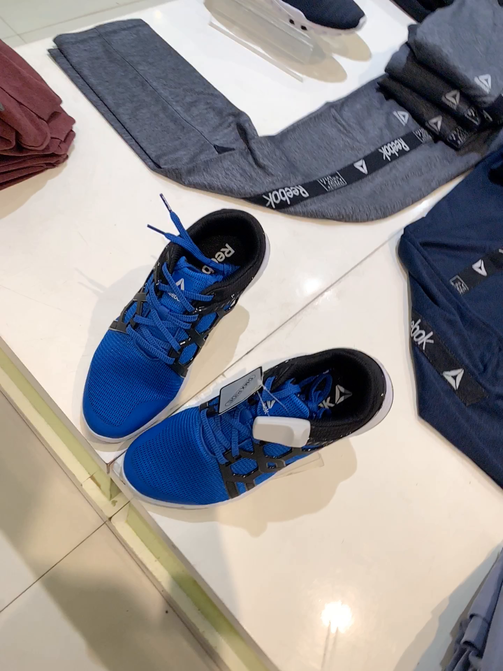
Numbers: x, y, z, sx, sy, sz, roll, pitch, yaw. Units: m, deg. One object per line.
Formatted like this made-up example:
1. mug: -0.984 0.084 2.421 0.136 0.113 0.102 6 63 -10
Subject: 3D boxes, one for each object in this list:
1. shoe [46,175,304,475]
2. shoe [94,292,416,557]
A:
1. shoe: -0.074 -0.011 0.539 0.100 0.100 0.280 36 94 -3
2. shoe: -0.002 0.090 0.495 0.289 0.080 0.100 -35 69 15
